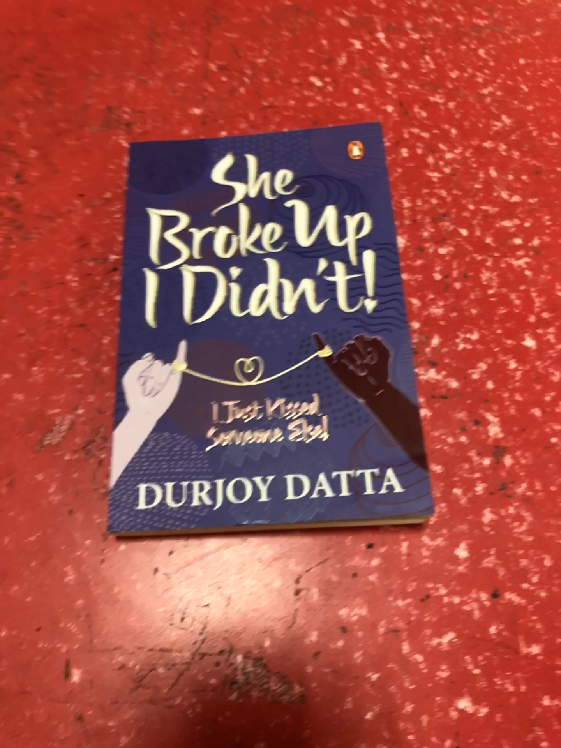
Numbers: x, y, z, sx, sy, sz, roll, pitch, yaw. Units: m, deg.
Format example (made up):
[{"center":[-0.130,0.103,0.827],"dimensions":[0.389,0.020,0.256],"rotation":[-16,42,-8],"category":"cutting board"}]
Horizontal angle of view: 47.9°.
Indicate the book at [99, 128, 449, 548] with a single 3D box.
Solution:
[{"center":[-0.006,-0.023,0.290],"dimensions":[0.130,0.040,0.190],"rotation":[-2,67,-1],"category":"book"}]
